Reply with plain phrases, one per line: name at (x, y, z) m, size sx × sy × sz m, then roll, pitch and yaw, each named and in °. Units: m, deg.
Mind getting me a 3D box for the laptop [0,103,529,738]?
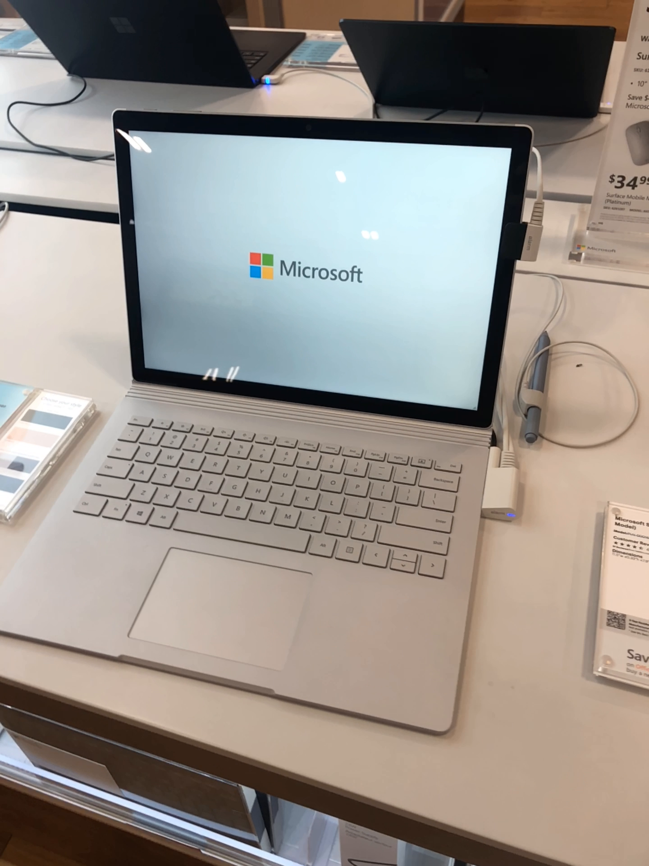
laptop at (-0.043, -0.039, 0.451) m, size 0.291 × 0.191 × 0.312 m, roll 8°, pitch 48°, yaw 13°
